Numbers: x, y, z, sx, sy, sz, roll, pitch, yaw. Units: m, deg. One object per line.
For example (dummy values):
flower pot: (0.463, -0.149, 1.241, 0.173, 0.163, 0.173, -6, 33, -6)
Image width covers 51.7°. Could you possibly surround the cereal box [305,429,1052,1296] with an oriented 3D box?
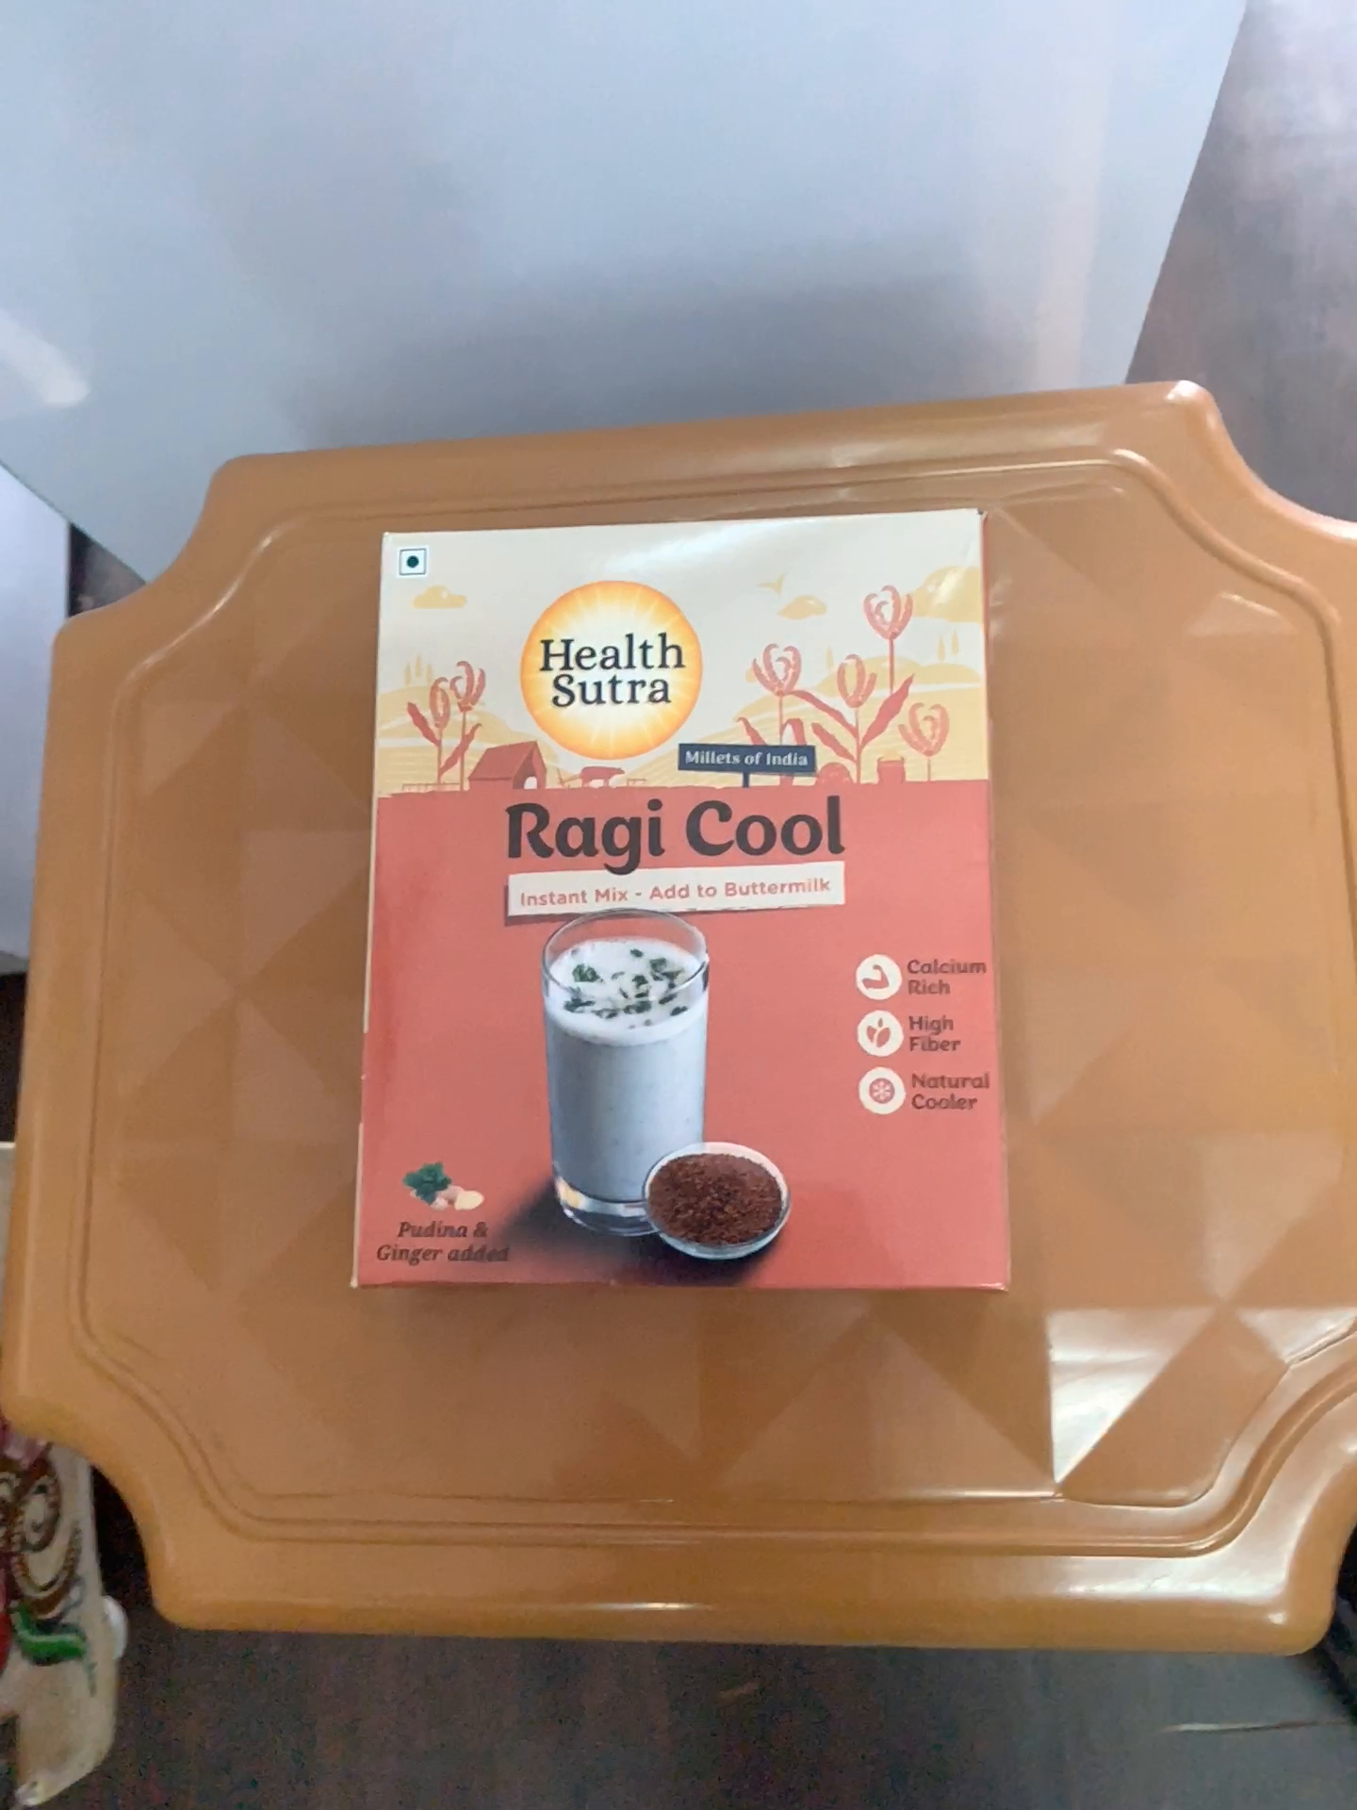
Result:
cereal box: (0.000, -0.008, 0.296, 0.140, 0.040, 0.170, -1, 79, 7)
